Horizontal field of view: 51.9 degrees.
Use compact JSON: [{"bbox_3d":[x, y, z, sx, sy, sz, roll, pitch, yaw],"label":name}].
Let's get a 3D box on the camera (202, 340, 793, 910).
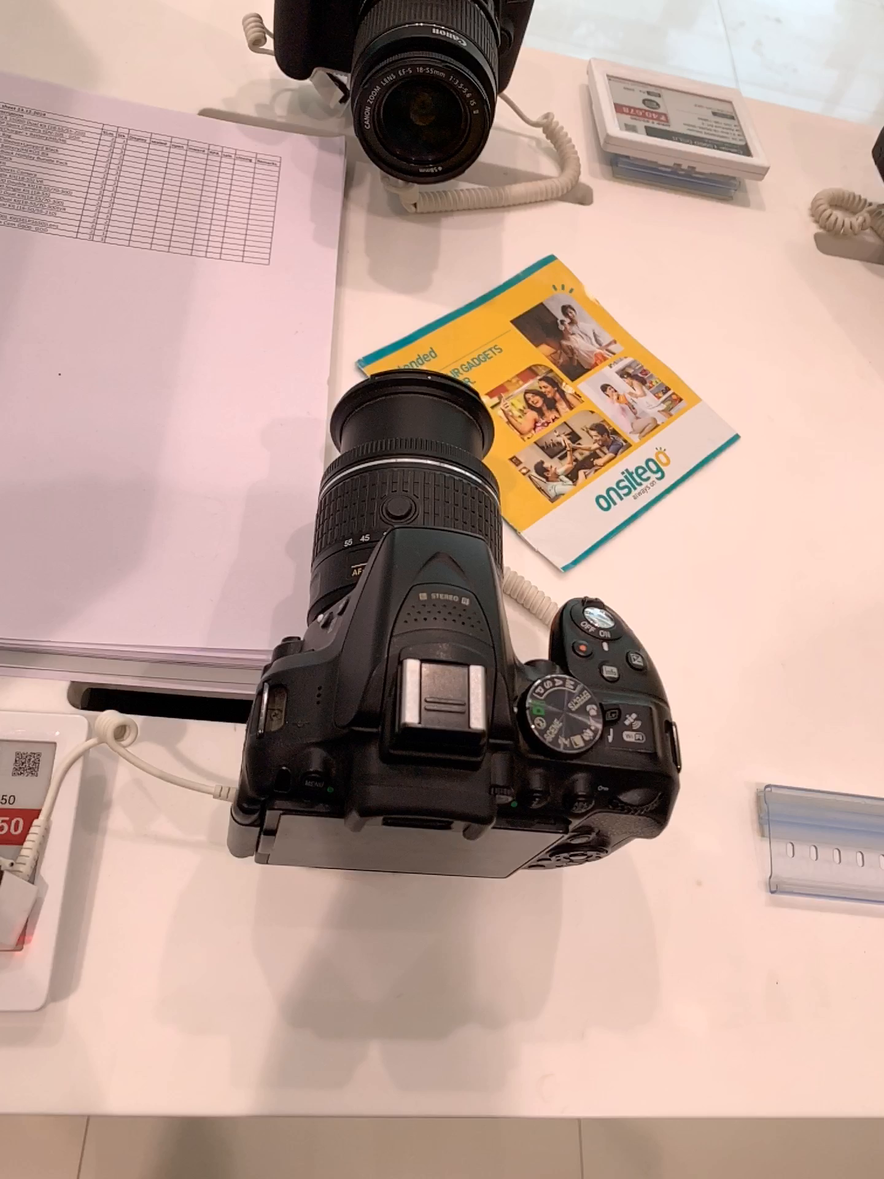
[{"bbox_3d":[0.004,0.018,0.244,0.118,0.100,0.107,7,60,-10],"label":"camera"}]
